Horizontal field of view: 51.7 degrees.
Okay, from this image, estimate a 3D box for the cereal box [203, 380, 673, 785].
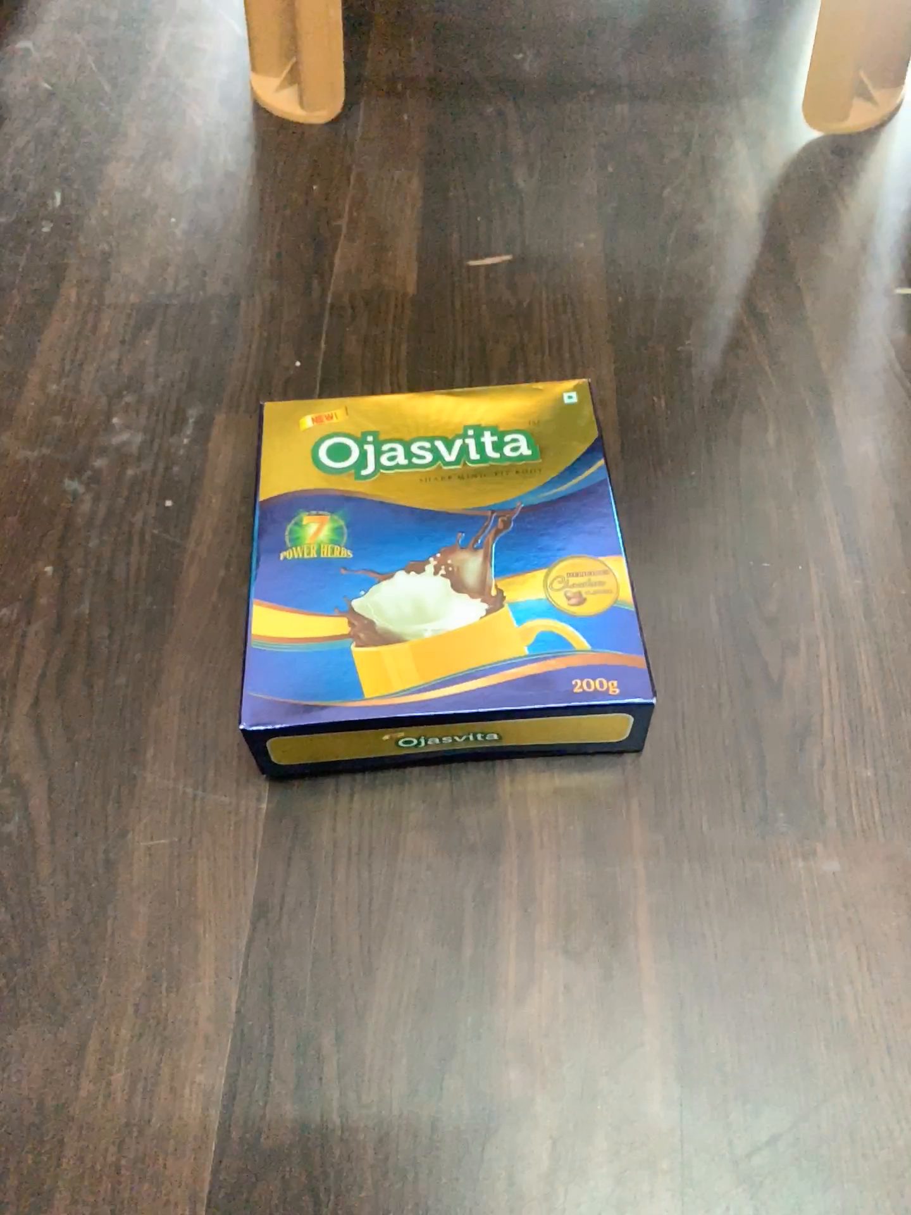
[{"bbox_3d":[-0.011,-0.016,0.358,0.150,0.040,0.150,-4,55,-3],"label":"cereal box"}]
